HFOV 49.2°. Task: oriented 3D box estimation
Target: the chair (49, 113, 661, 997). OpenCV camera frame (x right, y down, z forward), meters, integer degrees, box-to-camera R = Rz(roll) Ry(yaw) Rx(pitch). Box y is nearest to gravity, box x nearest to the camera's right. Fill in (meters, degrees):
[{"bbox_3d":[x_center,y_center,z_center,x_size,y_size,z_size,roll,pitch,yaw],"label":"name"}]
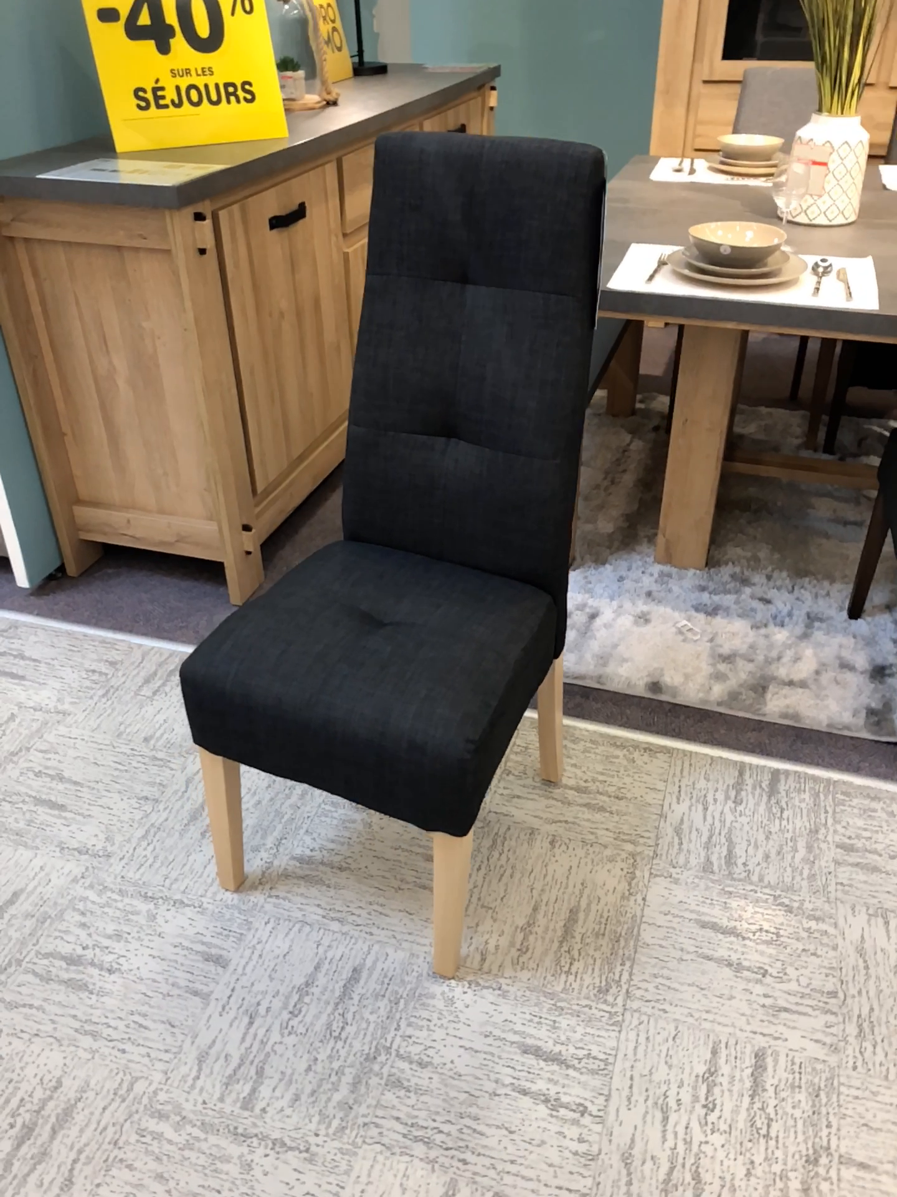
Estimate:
[{"bbox_3d":[-0.056,-0.075,1.421,0.480,1.044,0.604,13,36,20],"label":"chair"}]
